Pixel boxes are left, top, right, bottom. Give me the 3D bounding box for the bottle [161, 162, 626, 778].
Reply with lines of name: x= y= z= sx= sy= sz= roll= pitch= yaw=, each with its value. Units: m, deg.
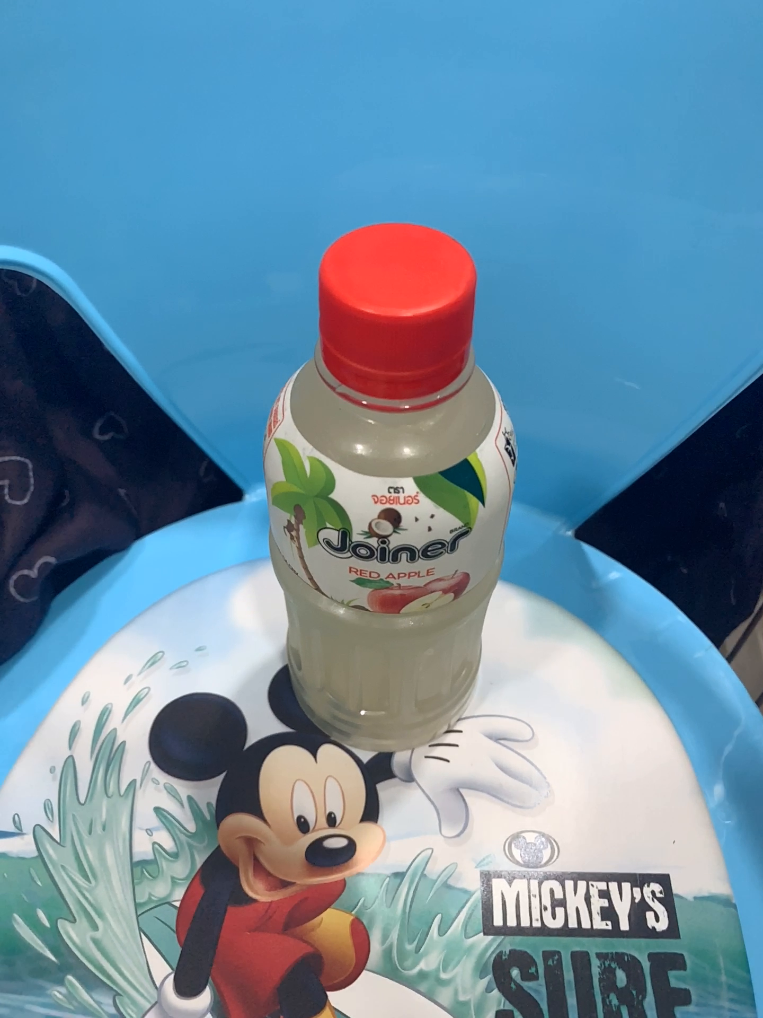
bottle: x=0.004 y=0.003 z=0.195 sx=0.070 sy=0.150 sz=0.060 roll=3 pitch=48 yaw=3
